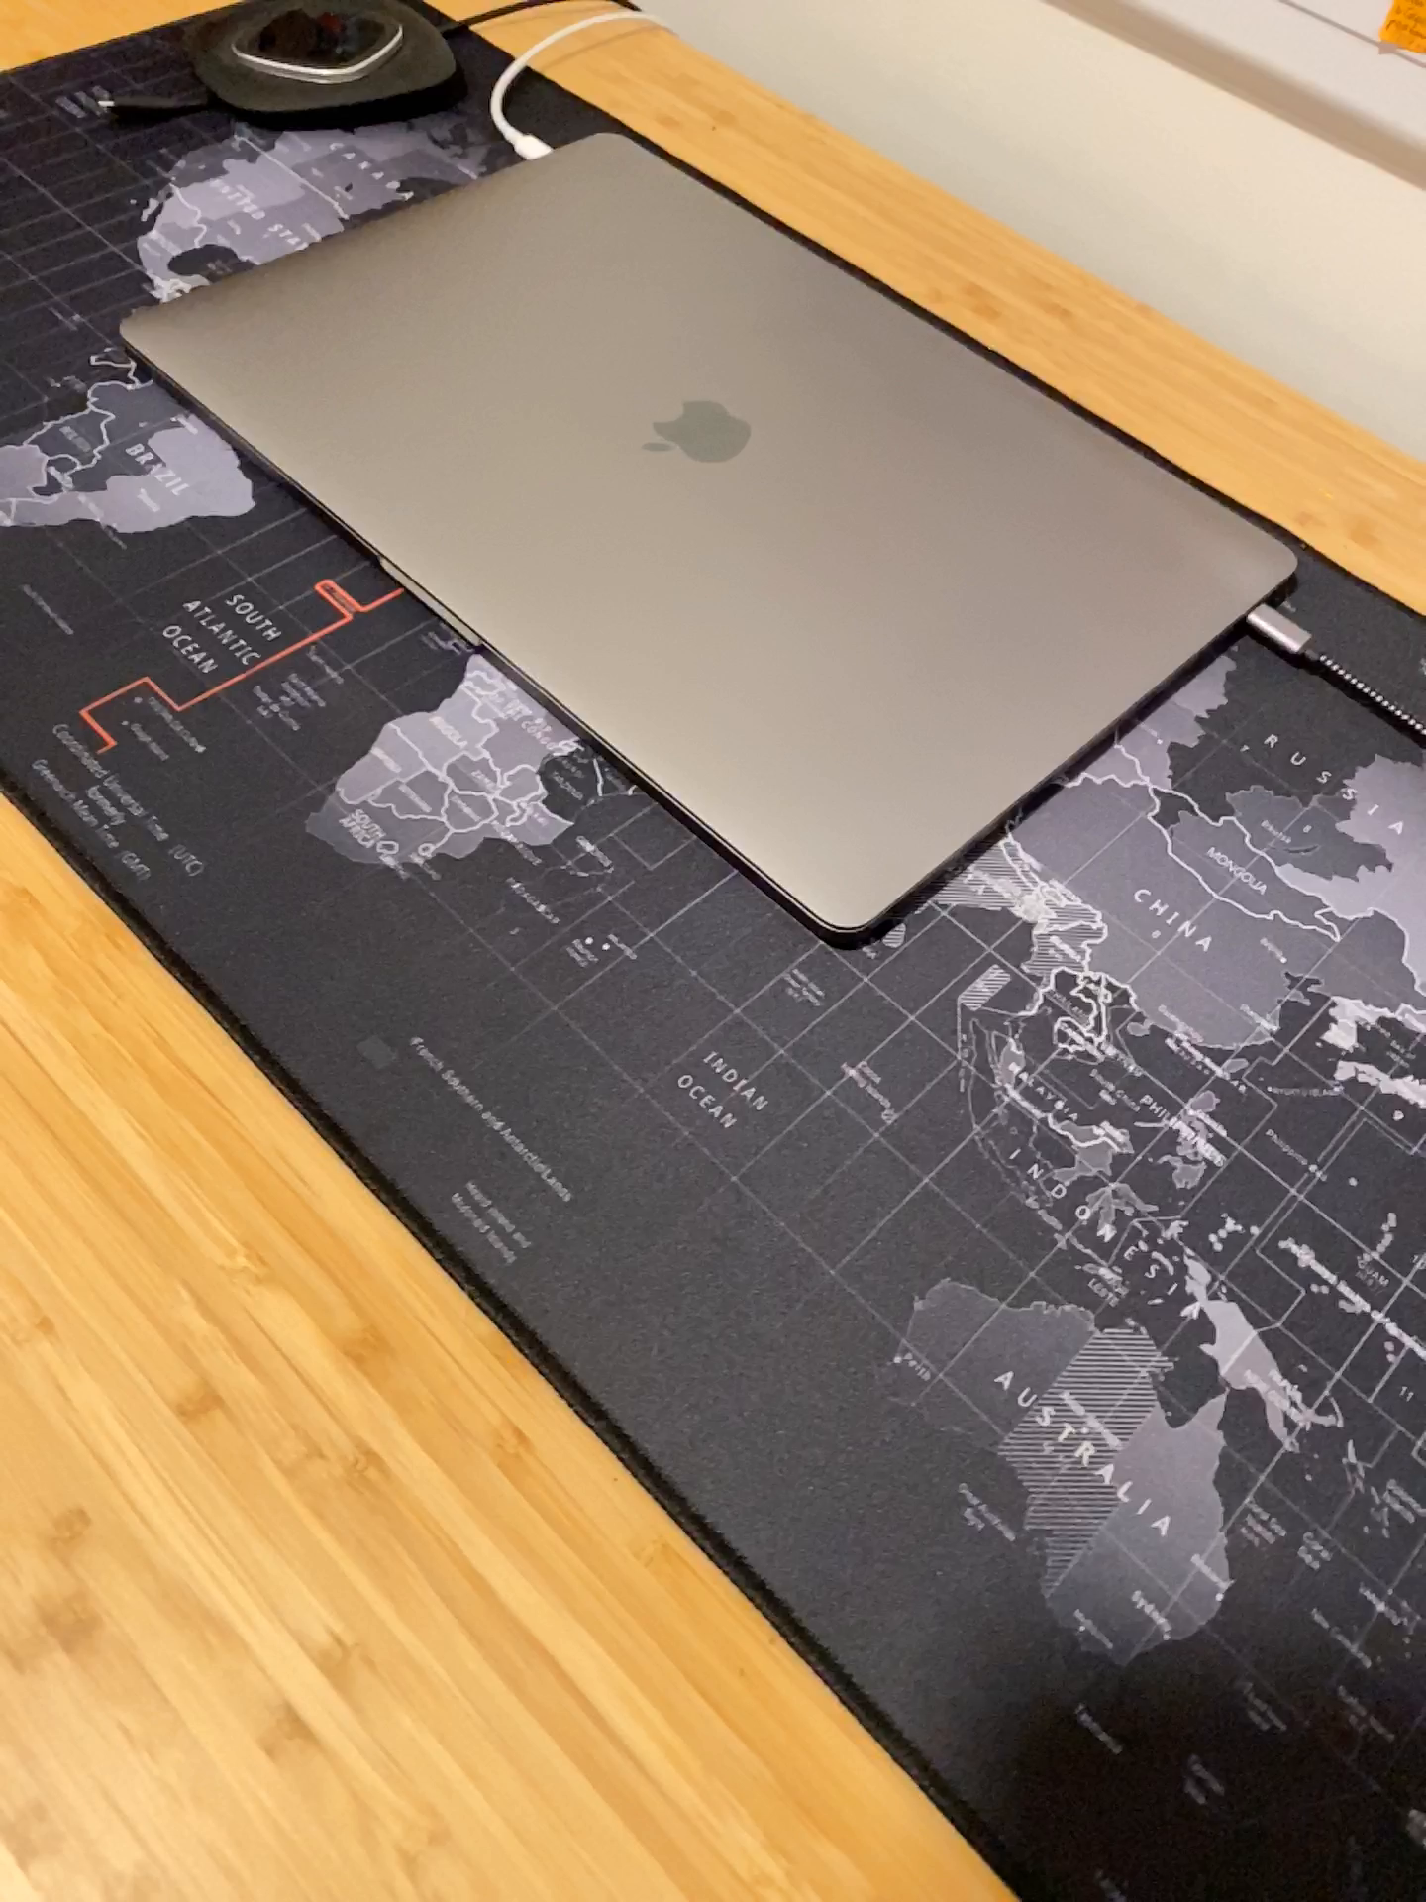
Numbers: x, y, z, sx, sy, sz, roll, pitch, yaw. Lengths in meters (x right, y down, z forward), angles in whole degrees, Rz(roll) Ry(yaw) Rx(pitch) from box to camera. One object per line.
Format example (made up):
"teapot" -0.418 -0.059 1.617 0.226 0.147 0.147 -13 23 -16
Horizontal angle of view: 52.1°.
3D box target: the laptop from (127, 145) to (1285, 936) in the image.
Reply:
"laptop" -0.007 -0.170 0.494 0.227 0.002 0.336 -37 65 -27
